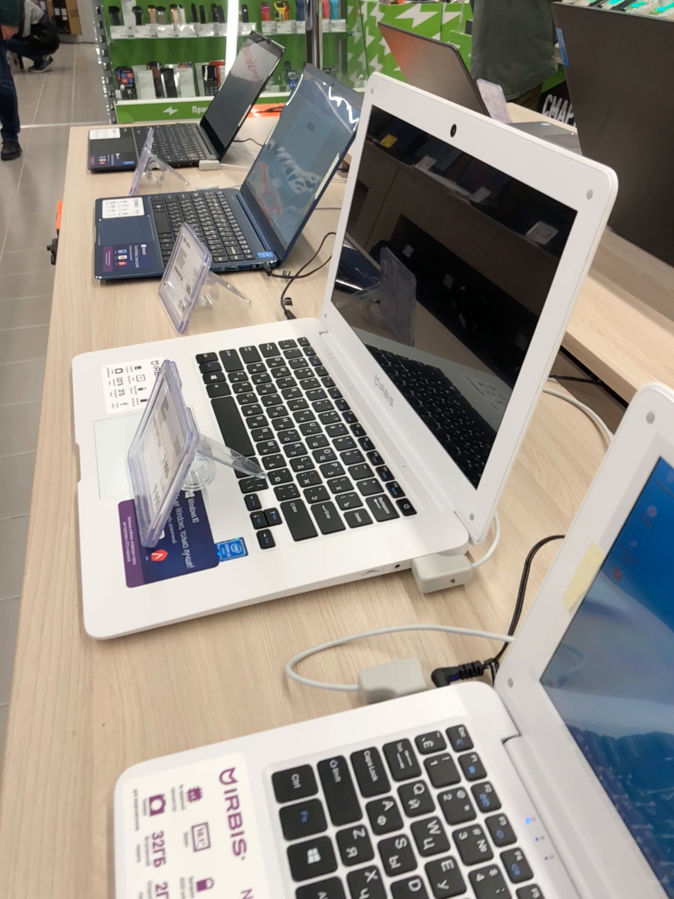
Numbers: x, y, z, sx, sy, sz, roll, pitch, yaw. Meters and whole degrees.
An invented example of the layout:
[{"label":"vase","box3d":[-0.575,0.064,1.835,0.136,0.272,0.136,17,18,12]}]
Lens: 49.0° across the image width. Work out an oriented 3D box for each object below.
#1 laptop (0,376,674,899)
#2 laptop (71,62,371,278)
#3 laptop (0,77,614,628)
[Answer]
[{"label":"laptop","box3d":[0.043,0.128,0.195,0.221,0.167,0.261,-9,33,-12]},{"label":"laptop","box3d":[-0.150,-0.365,0.926,0.310,0.158,0.299,-9,36,-12]},{"label":"laptop","box3d":[-0.051,-0.106,0.508,0.279,0.207,0.335,-11,35,-13]}]
